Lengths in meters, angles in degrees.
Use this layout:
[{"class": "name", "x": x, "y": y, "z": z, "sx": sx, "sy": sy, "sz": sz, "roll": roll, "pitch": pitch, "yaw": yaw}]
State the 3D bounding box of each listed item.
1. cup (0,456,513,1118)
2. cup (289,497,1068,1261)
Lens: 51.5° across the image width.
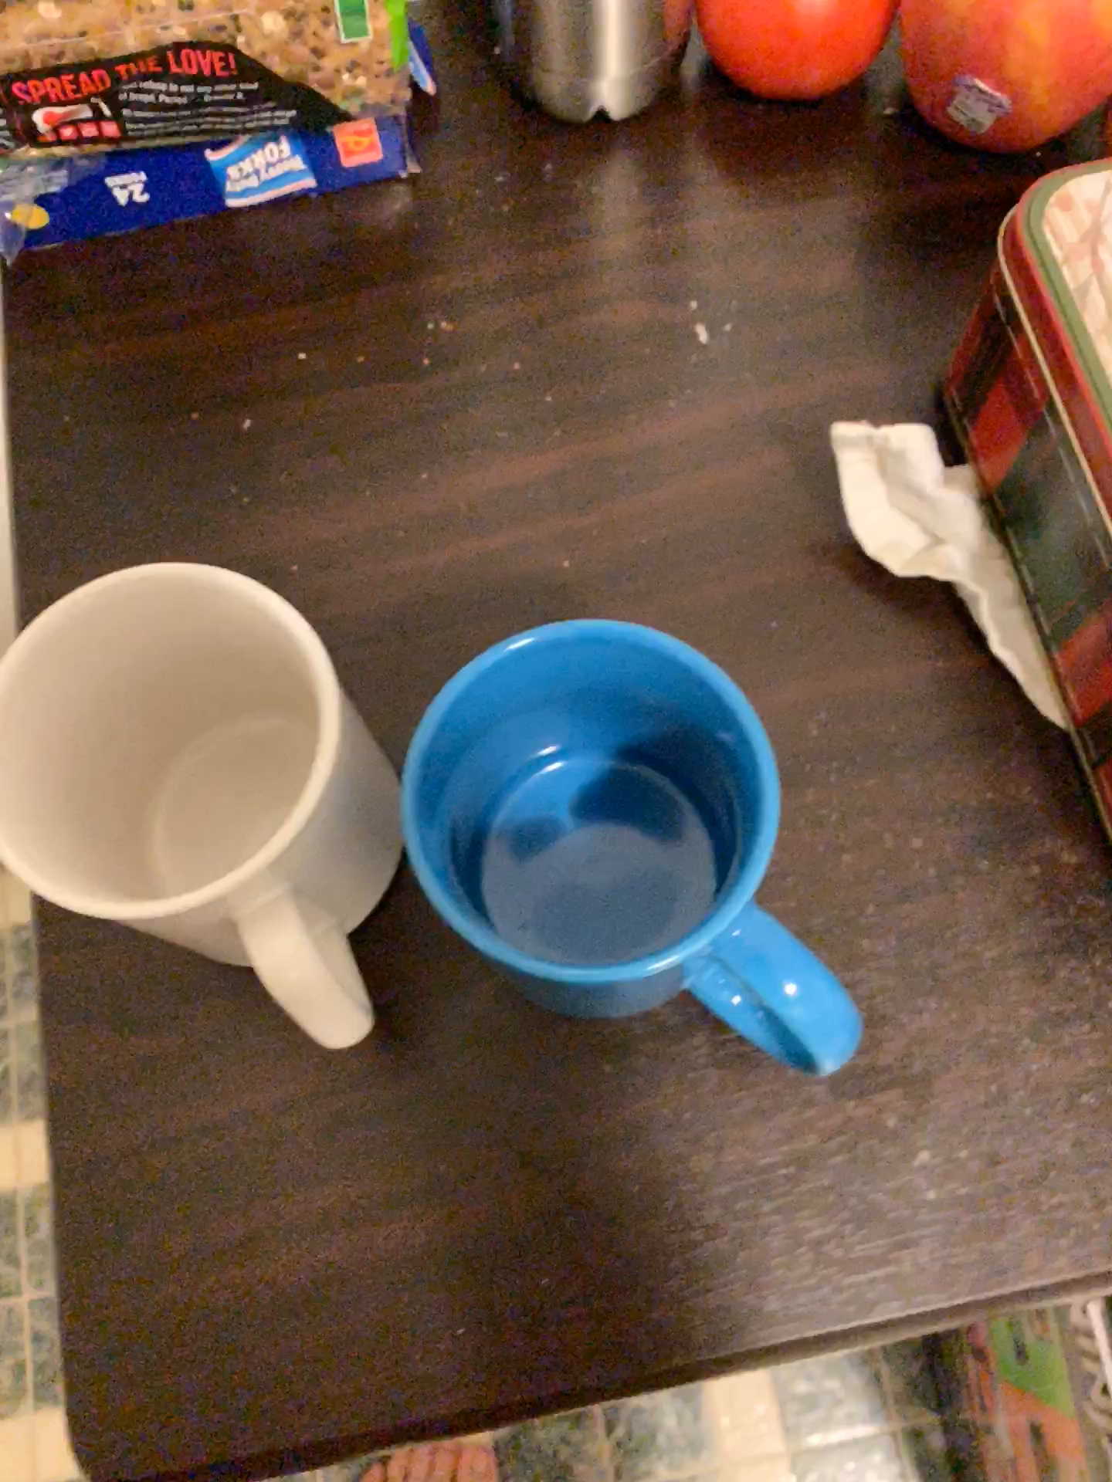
[{"class": "cup", "x": -0.083, "y": 0.017, "z": 0.293, "sx": 0.090, "sy": 0.090, "sz": 0.120, "roll": -29, "pitch": 73, "yaw": -6}, {"class": "cup", "x": 0.025, "y": 0.036, "z": 0.290, "sx": 0.090, "sy": 0.100, "sz": 0.140, "roll": -43, "pitch": 75, "yaw": -10}]
